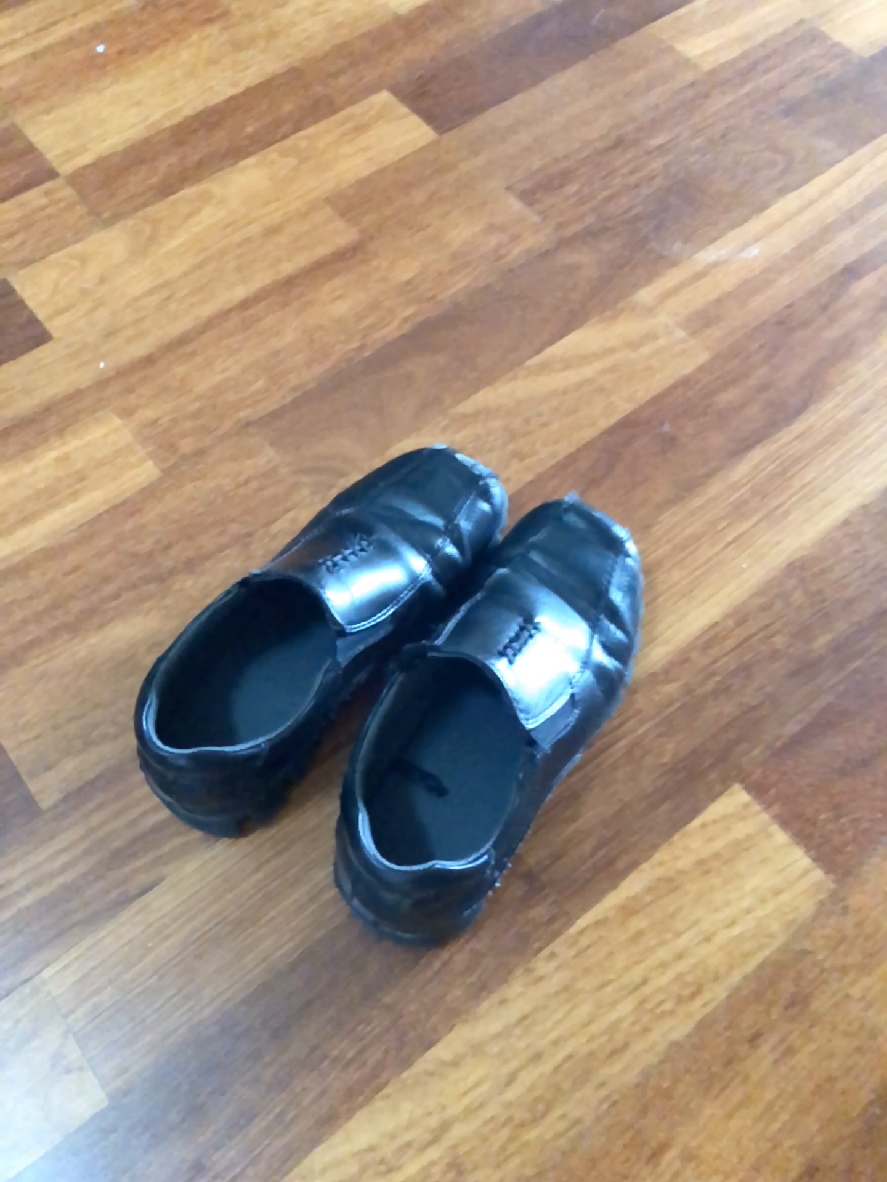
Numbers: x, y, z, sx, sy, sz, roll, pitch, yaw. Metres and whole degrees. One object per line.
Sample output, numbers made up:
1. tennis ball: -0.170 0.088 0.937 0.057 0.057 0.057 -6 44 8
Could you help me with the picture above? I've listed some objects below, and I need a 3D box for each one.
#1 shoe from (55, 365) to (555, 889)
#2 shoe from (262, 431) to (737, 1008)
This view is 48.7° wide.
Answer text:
1. shoe: -0.053 0.011 0.466 0.091 0.075 0.233 34 67 17
2. shoe: 0.032 0.050 0.442 0.094 0.075 0.233 28 65 14
